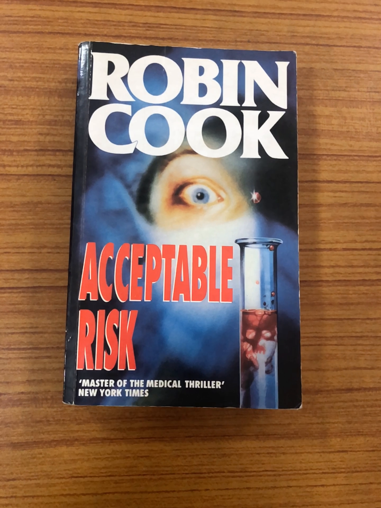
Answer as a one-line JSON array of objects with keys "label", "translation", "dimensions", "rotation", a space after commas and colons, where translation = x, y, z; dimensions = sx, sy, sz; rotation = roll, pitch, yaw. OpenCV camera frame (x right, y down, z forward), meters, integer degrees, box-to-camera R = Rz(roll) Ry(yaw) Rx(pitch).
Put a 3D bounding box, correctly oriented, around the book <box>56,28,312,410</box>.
[{"label": "book", "translation": [-0.001, -0.016, 0.214], "dimensions": [0.110, 0.040, 0.170], "rotation": [3, 84, -4]}]
